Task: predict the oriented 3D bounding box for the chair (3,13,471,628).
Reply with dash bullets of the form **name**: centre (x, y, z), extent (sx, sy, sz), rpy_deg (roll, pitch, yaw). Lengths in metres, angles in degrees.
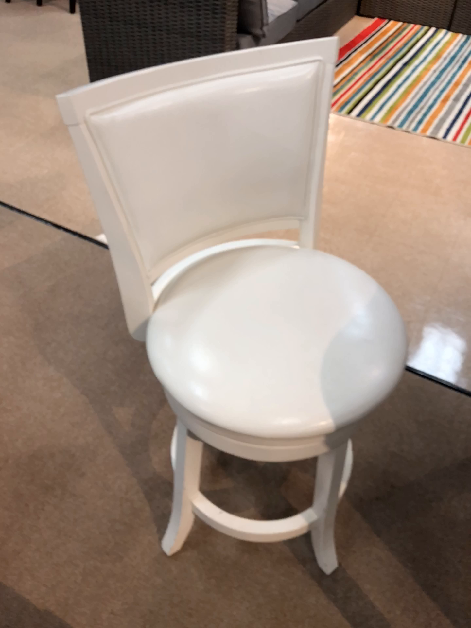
- **chair**: centre (0.075, 0.073, 0.981), extent (0.621, 0.944, 0.573), rpy_deg (-20, 49, -20)
